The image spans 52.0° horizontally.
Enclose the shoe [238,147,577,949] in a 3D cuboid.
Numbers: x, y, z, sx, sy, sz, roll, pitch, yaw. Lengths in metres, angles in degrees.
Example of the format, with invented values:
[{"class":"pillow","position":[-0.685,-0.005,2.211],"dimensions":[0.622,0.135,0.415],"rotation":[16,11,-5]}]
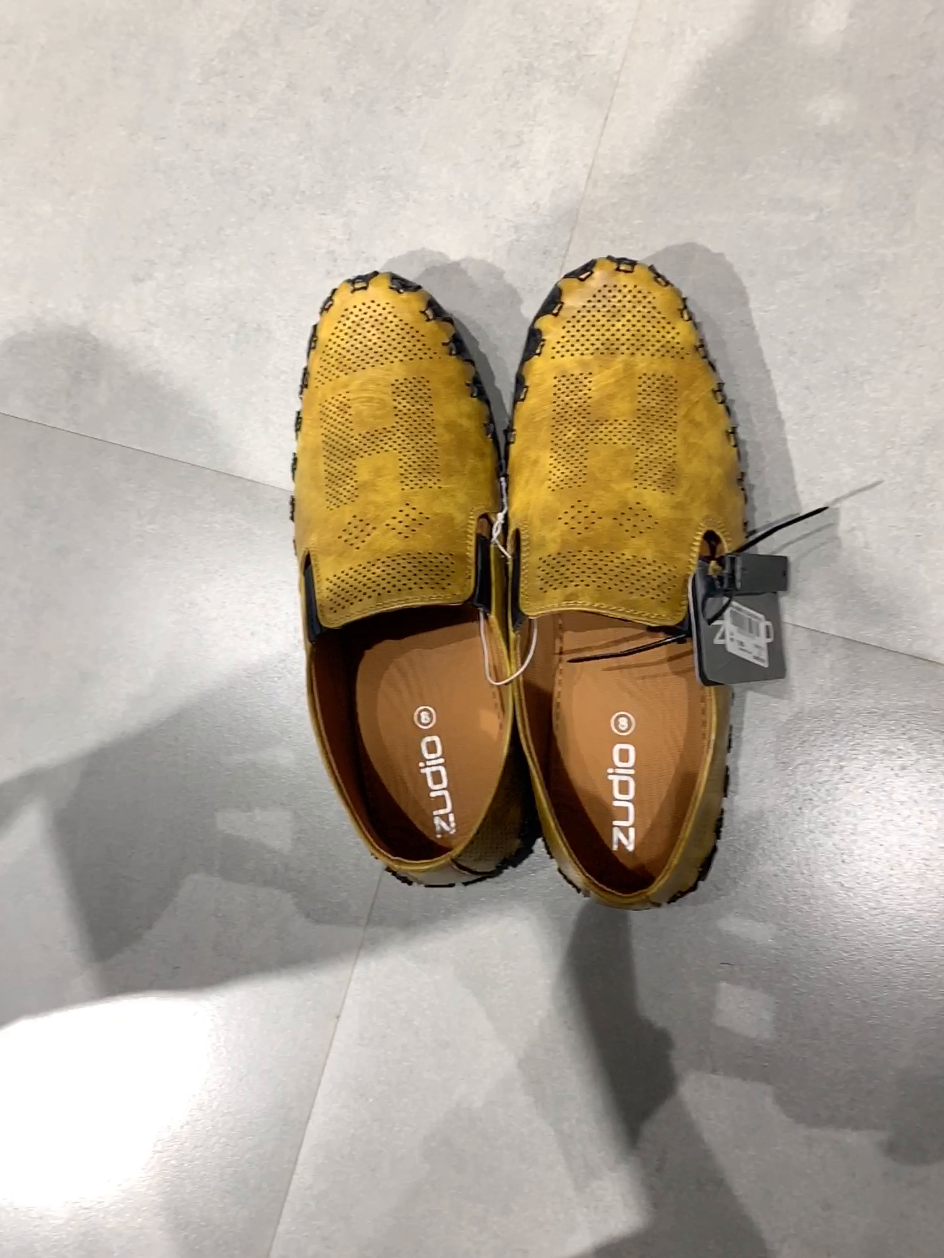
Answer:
[{"class":"shoe","position":[-0.025,-0.031,0.452],"dimensions":[0.100,0.120,0.320],"rotation":[-7,83,12]}]

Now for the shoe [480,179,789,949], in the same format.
[{"class":"shoe","position":[0.067,-0.024,0.411],"dimensions":[0.110,0.080,0.290],"rotation":[-2,84,13]}]
